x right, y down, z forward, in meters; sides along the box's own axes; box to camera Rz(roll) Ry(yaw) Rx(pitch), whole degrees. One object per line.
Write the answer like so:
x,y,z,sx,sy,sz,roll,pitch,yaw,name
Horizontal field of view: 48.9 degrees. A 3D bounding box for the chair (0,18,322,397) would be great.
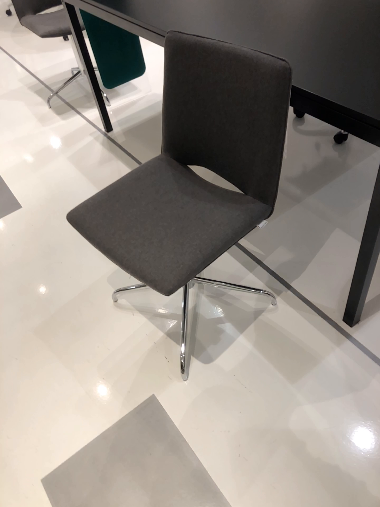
-0.030,-0.116,1.249,0.522,0.834,0.552,33,61,33,chair
